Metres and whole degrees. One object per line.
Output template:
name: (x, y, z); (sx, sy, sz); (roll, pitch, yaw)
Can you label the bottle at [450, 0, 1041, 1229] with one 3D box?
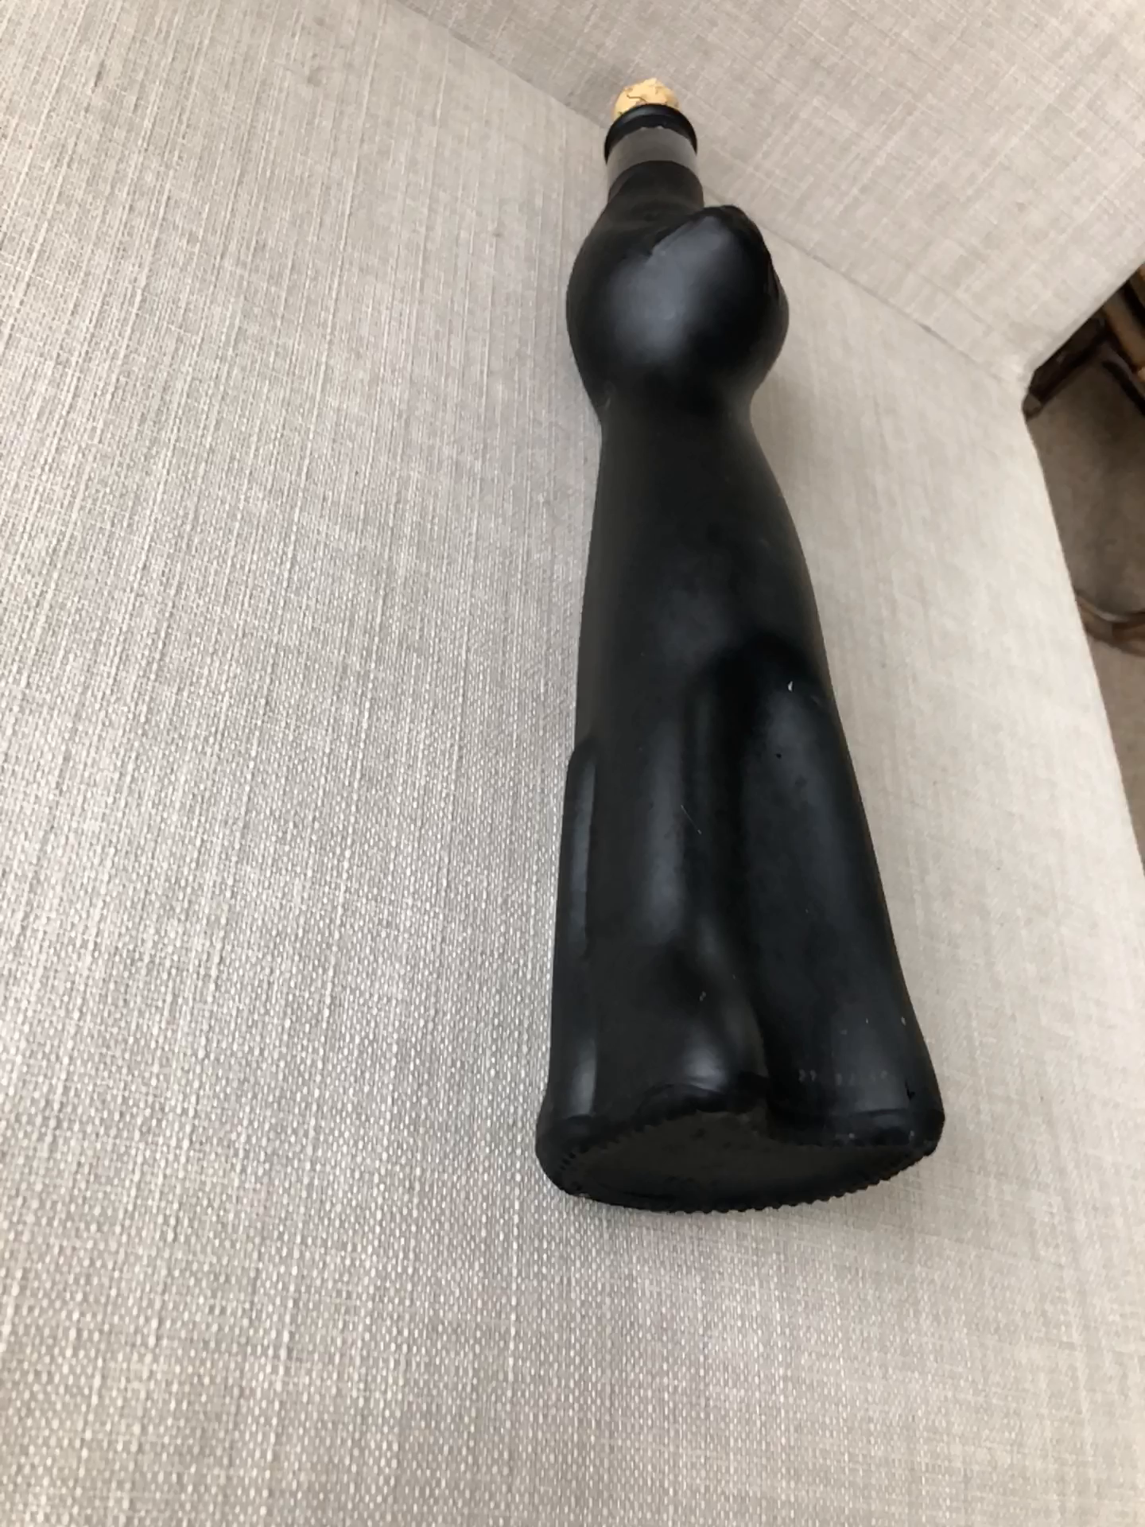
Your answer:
bottle: (0.032, -0.057, 0.315); (0.078, 0.079, 0.312); (18, 56, -29)
